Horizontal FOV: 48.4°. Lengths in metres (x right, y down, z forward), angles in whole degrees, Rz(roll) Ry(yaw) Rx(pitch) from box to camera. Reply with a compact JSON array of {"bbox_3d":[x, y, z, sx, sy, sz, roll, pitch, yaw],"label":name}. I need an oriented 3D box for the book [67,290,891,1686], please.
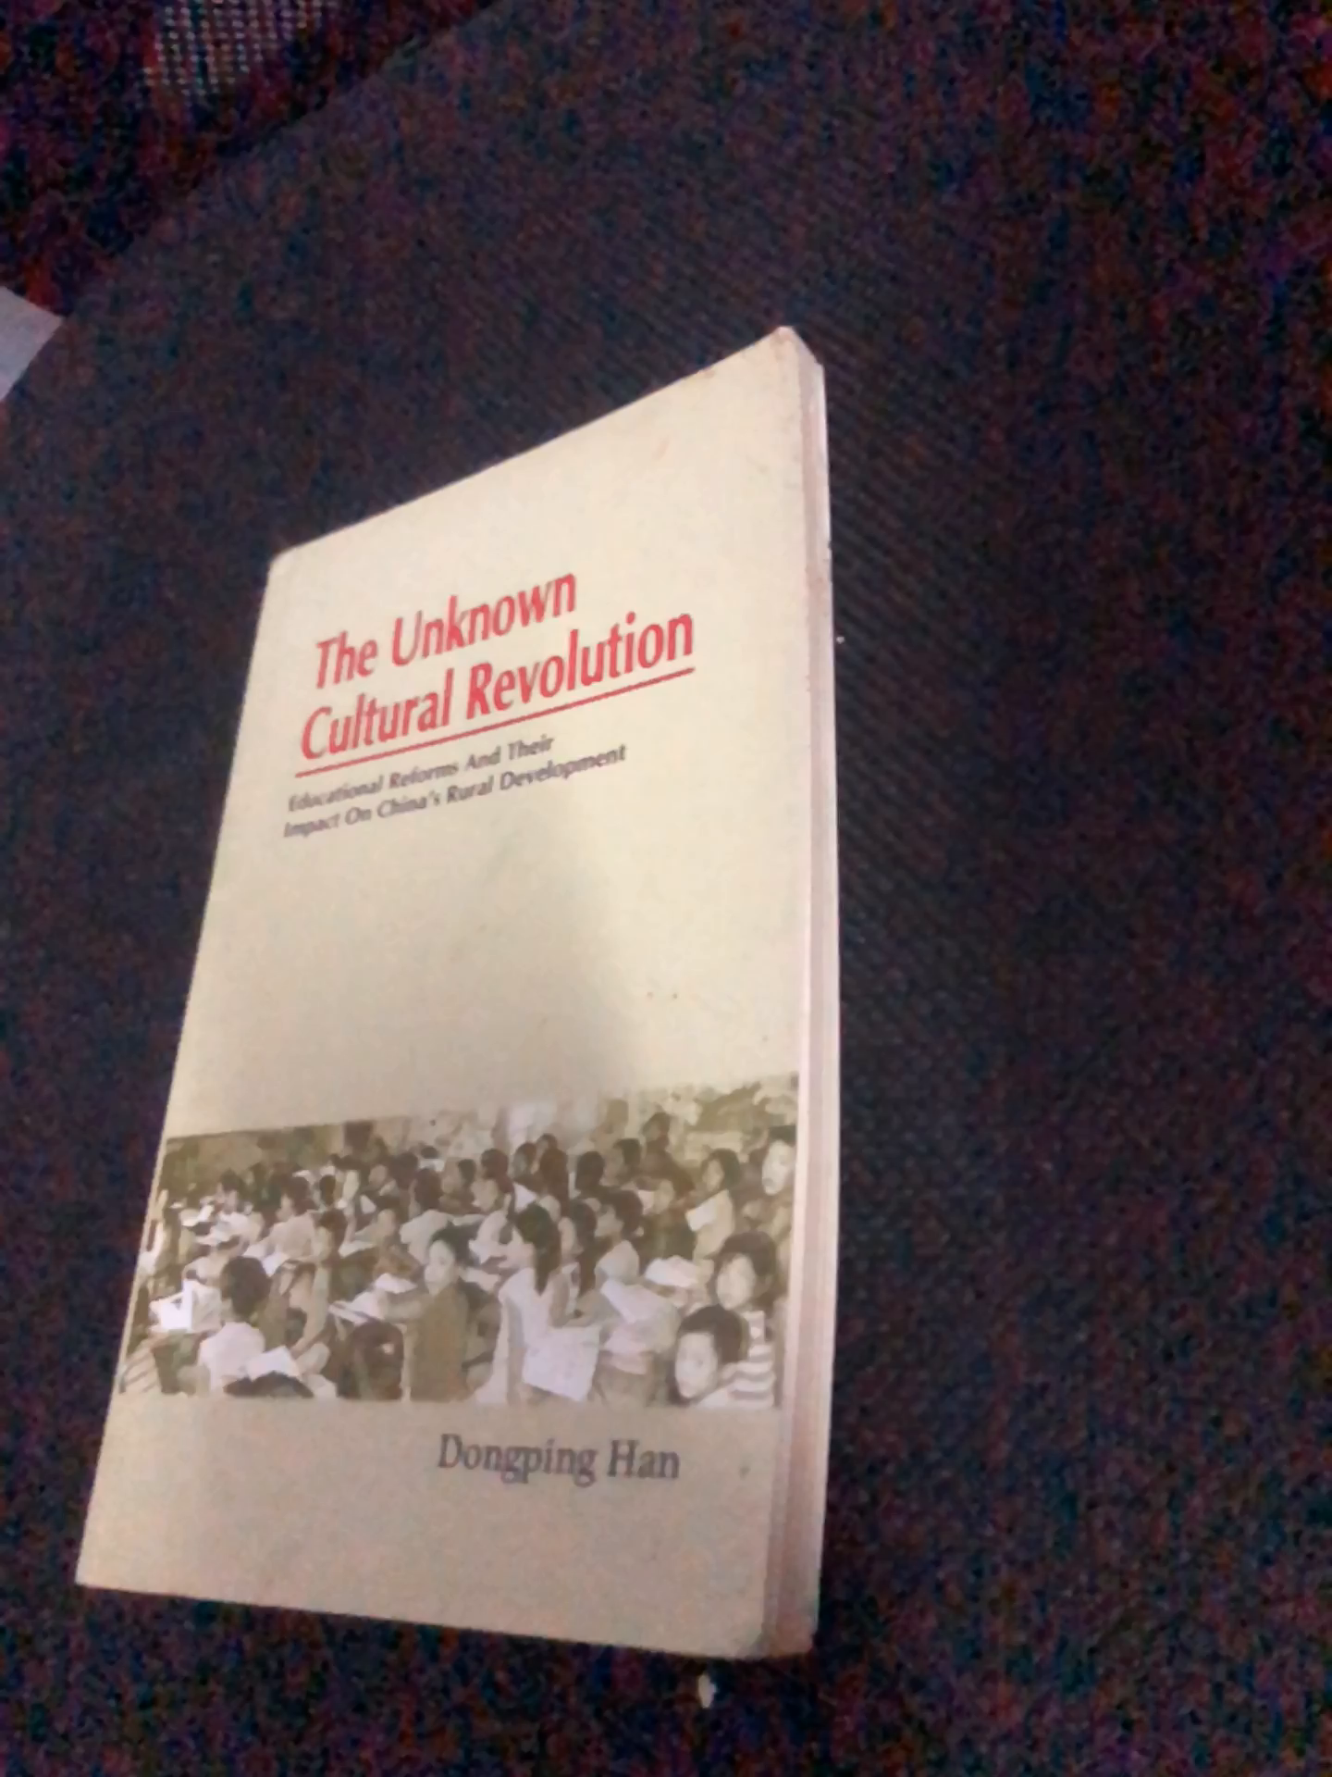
[{"bbox_3d":[-0.036,0.013,0.267,0.154,0.017,0.214,-11,67,32],"label":"book"}]
